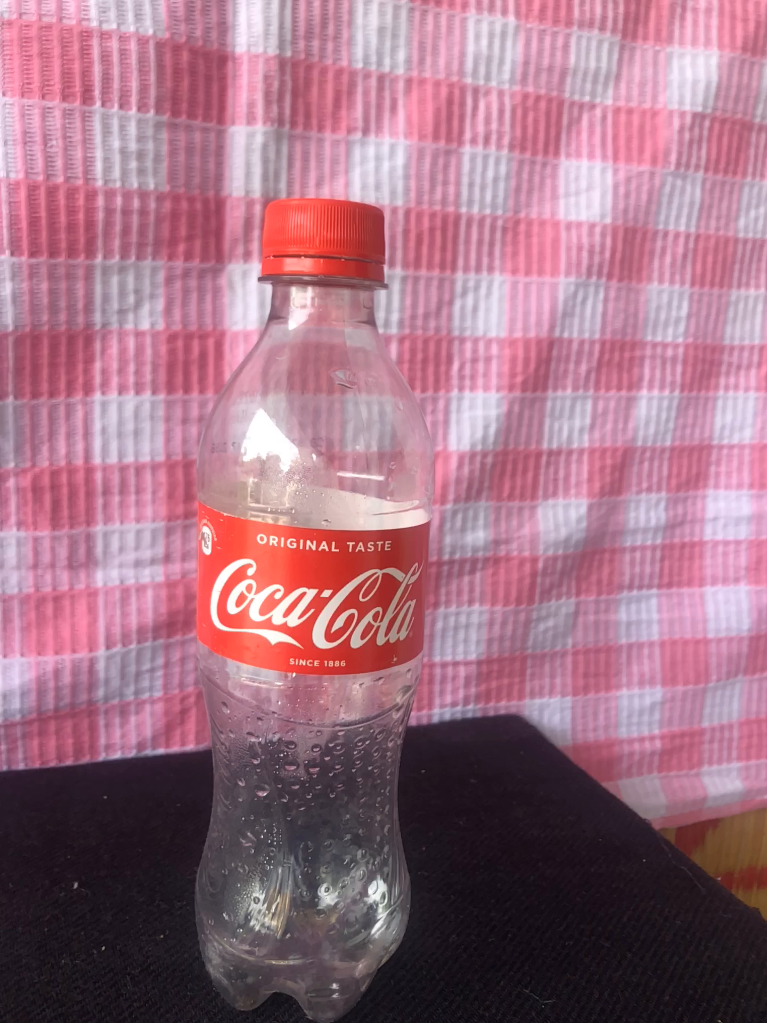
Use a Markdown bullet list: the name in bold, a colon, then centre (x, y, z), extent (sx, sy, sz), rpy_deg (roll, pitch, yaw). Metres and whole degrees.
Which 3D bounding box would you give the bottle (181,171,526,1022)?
- **bottle**: centre (-0.008, 0.023, 0.214), extent (0.060, 0.189, 0.060), rpy_deg (5, 12, -1)
